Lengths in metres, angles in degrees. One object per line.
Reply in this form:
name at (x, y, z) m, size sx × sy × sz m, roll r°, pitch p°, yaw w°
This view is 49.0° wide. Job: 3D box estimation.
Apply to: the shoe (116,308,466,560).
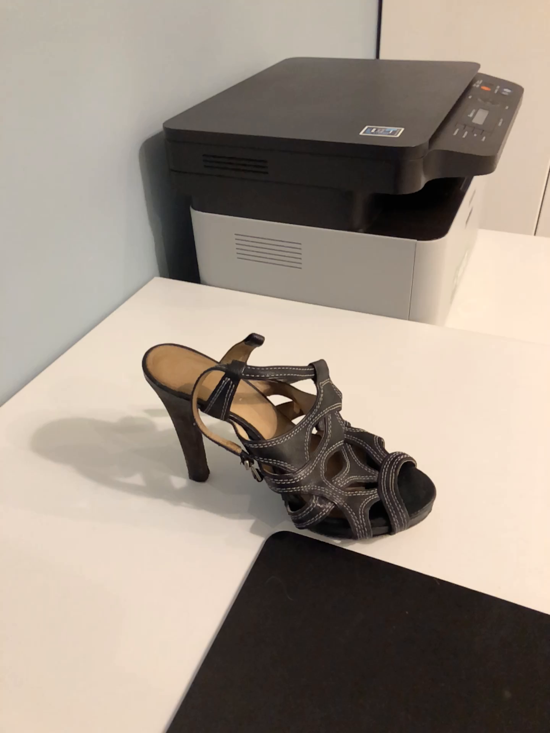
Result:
shoe at (0.014, 0.041, 0.444) m, size 0.220 × 0.099 × 0.101 m, roll 11°, pitch 38°, yaw 17°
